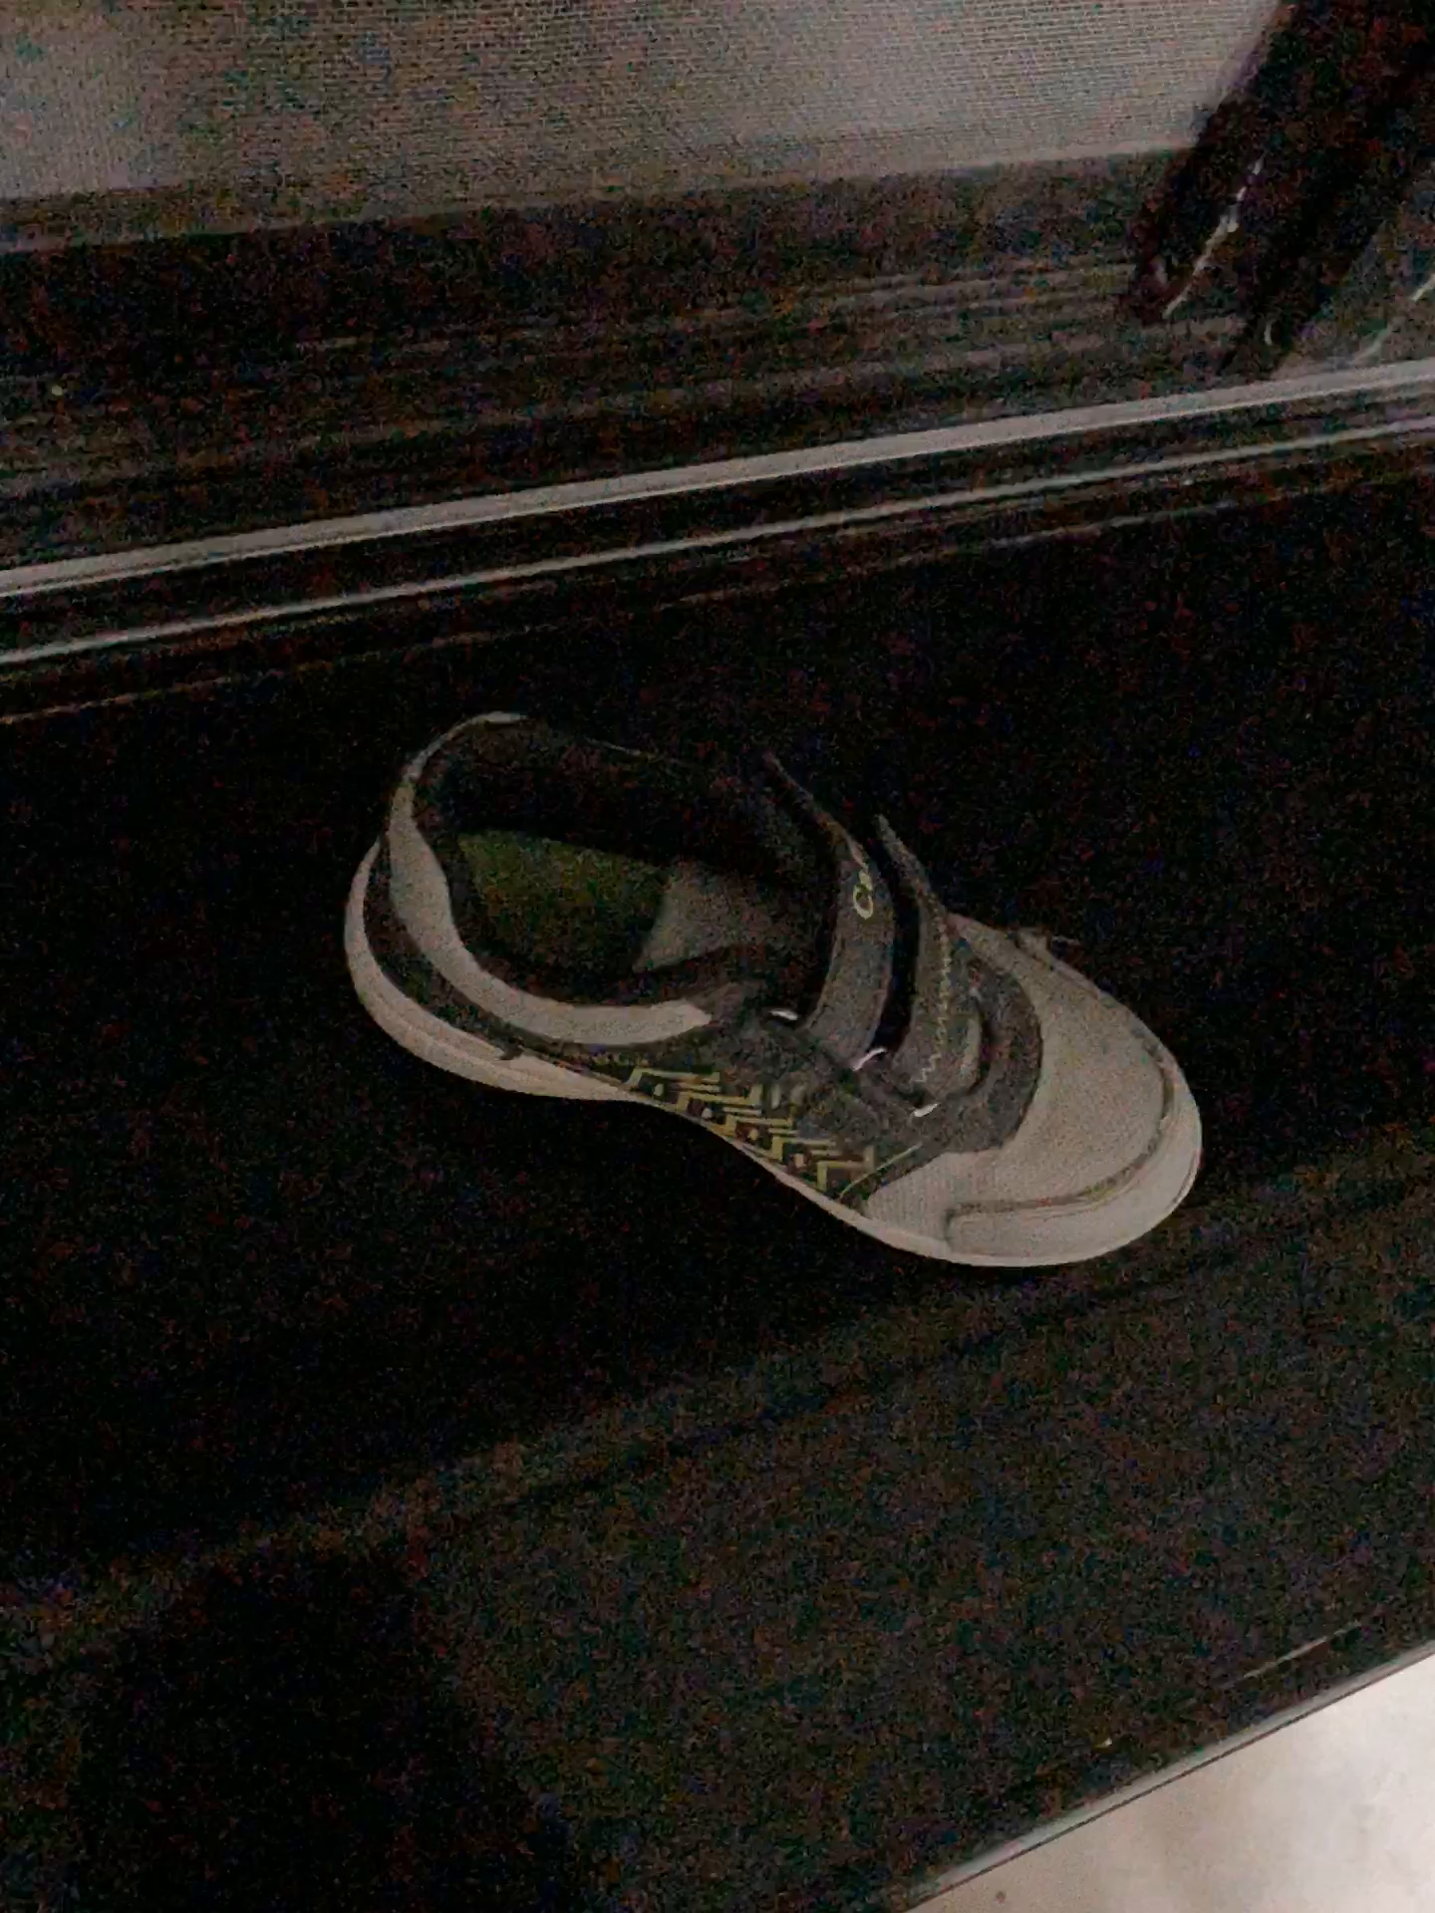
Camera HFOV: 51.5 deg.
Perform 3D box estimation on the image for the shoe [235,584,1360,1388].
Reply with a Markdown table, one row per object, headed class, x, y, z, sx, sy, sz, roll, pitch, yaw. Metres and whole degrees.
| class | x | y | z | sx | sy | sz | roll | pitch | yaw |
| --- | --- | --- | --- | --- | --- | --- | --- | --- | --- |
| shoe | 0.019 | 0.013 | 0.352 | 0.230 | 0.080 | 0.090 | 22 | 64 | -2 |
